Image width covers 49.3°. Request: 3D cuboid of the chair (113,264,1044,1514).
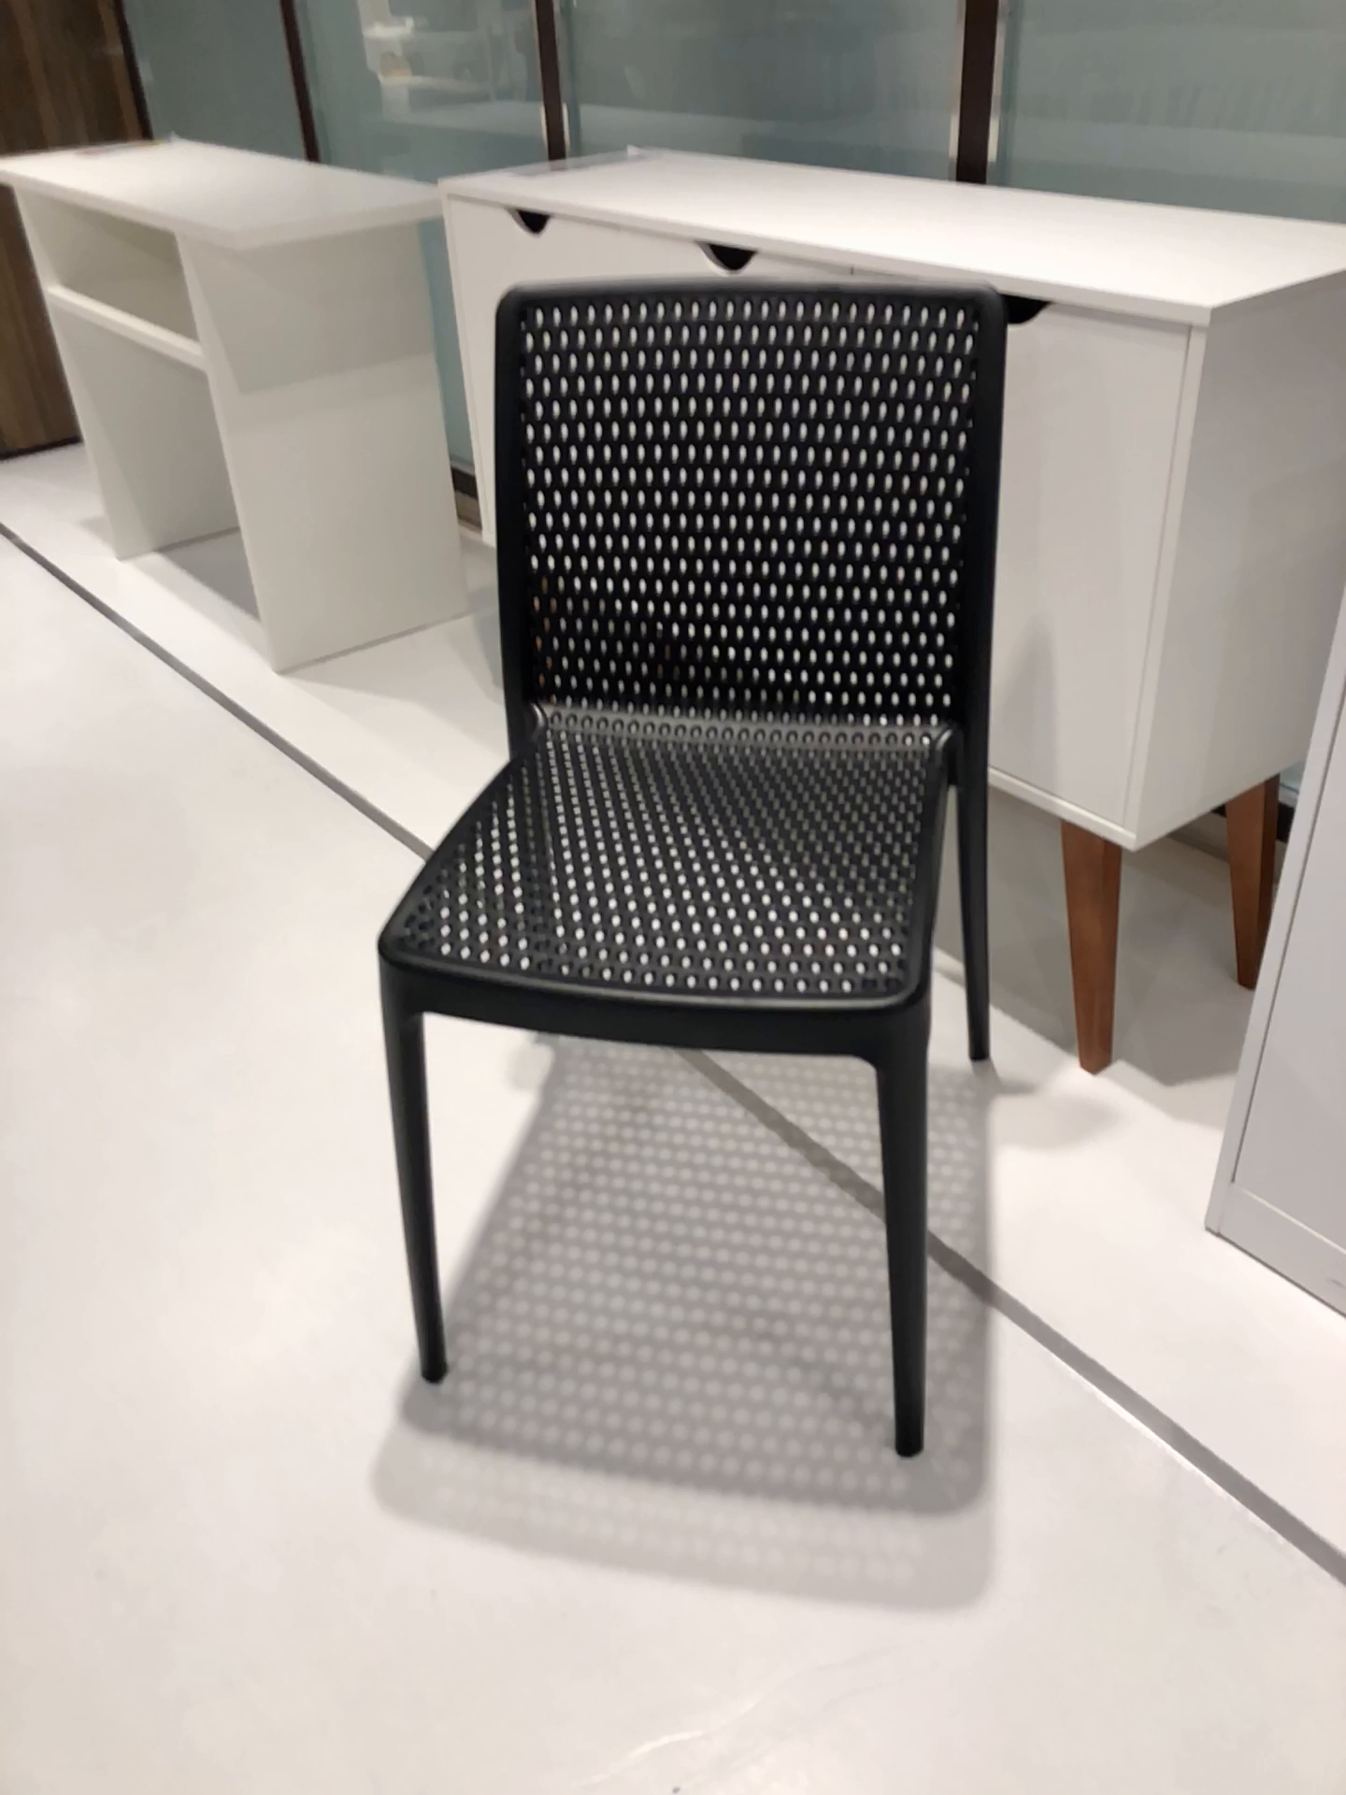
[{"bbox_3d":[0.013,-0.030,1.289,0.530,0.864,0.604,4,34,11],"label":"chair"}]
